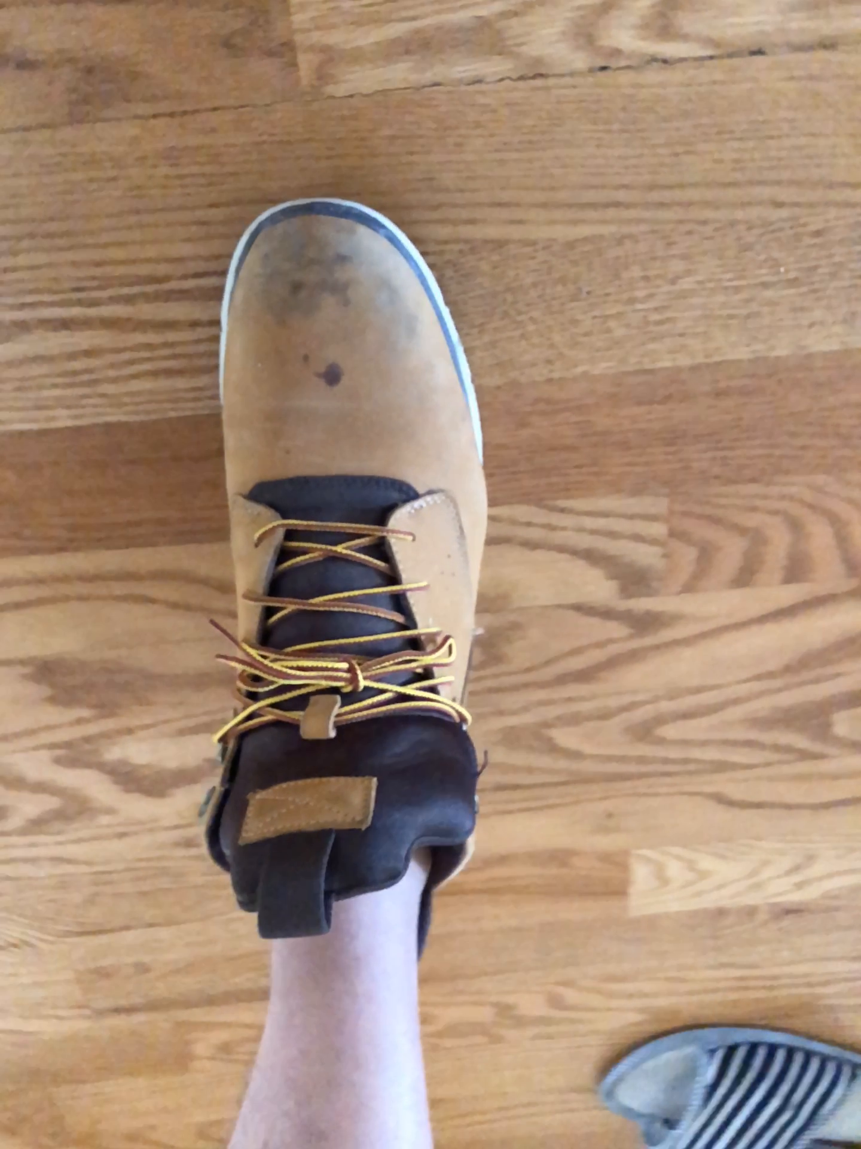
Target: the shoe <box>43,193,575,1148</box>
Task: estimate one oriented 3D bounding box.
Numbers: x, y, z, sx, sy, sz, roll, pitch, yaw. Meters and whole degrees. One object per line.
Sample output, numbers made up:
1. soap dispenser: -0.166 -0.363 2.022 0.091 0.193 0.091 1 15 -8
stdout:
1. shoe: -0.028 0.030 0.358 0.120 0.169 0.311 -2 115 -2
